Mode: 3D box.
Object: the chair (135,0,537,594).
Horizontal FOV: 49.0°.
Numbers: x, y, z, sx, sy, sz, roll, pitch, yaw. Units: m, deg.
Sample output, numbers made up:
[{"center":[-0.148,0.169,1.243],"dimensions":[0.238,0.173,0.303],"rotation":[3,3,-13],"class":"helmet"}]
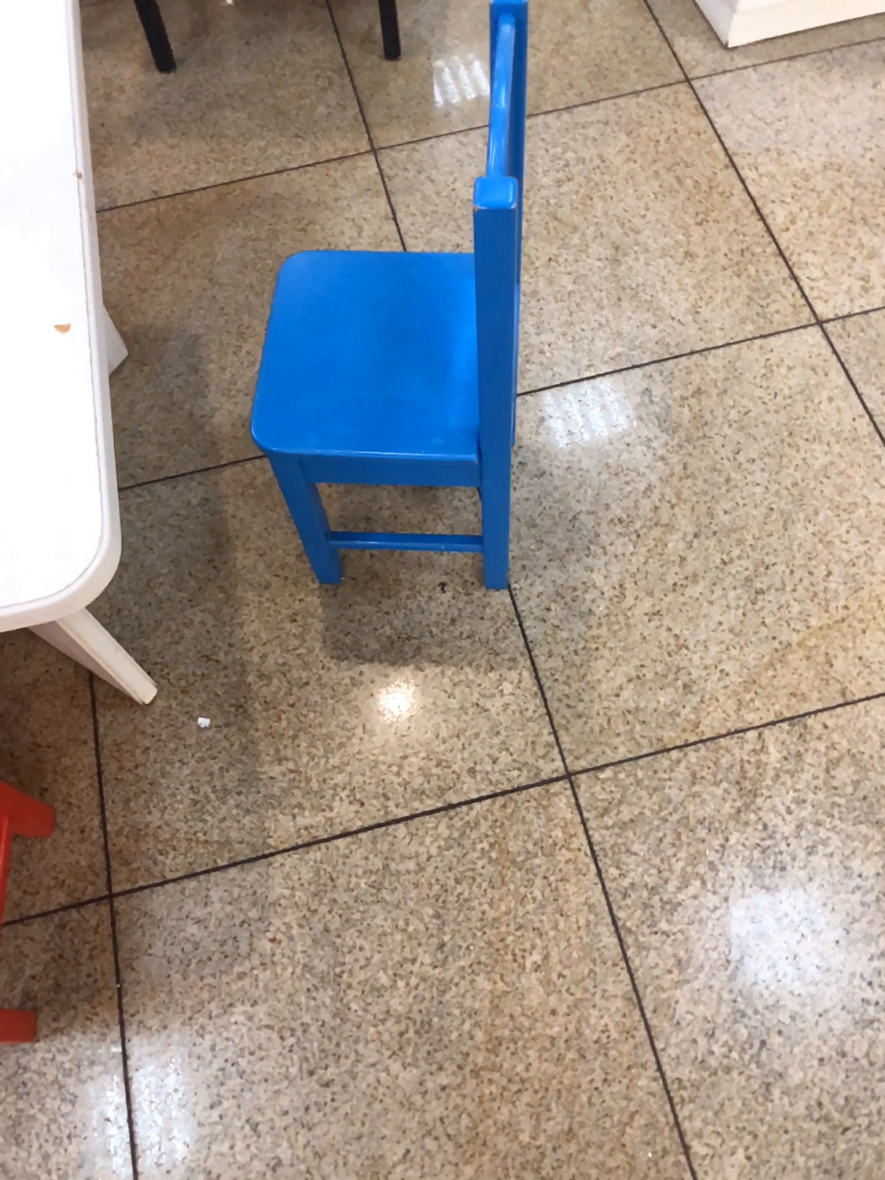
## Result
[{"center":[-0.059,-0.274,1.077],"dimensions":[0.300,0.639,0.300],"rotation":[1,64,4],"class":"chair"}]
